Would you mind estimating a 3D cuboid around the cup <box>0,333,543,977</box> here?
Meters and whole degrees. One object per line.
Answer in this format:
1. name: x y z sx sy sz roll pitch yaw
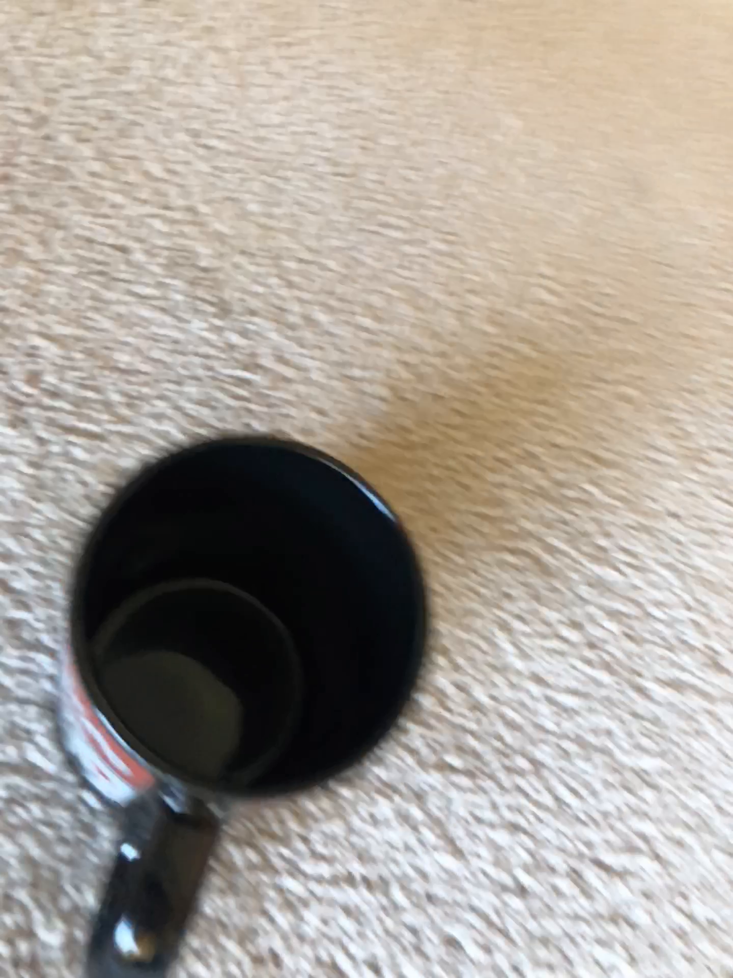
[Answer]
1. cup: -0.025 0.050 0.220 0.090 0.090 0.130 25 57 -10
